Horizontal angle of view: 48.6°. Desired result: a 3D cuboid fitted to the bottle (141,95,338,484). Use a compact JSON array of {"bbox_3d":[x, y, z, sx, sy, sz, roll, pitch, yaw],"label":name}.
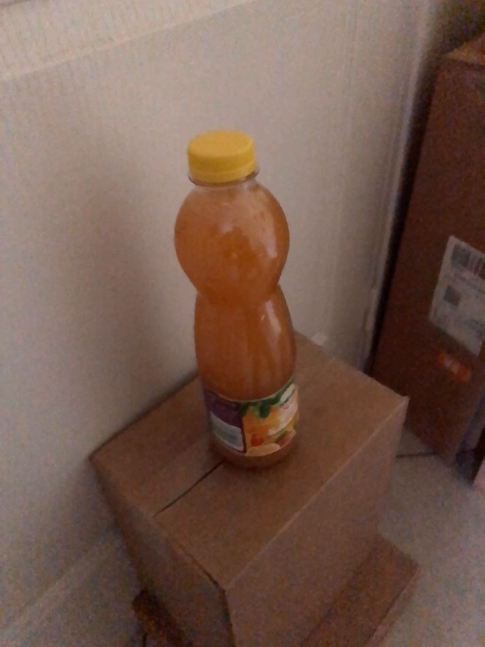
[{"bbox_3d":[0.004,-0.005,0.394,0.080,0.278,0.081,-1,43,1],"label":"bottle"}]
